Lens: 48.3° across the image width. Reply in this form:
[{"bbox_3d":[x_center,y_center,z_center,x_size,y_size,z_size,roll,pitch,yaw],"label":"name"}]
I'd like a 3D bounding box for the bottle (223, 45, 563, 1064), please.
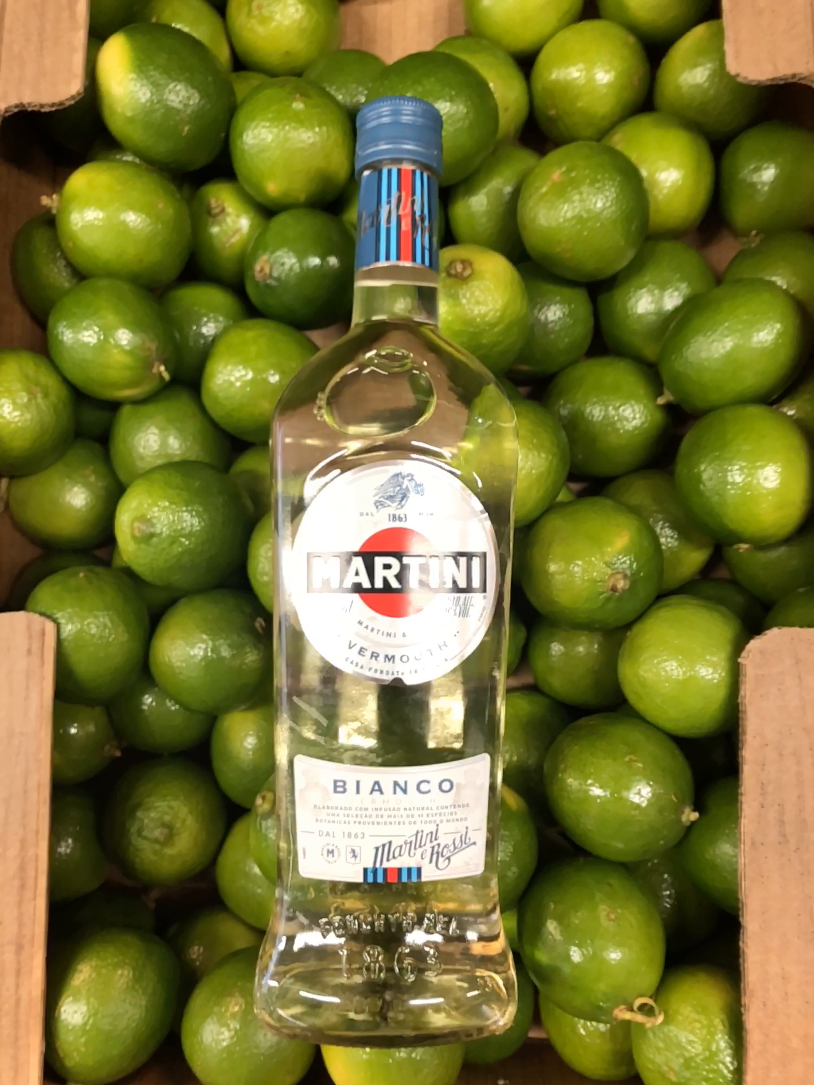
[{"bbox_3d":[-0.006,-0.004,0.309,0.100,0.050,0.320,-1,84,0],"label":"bottle"}]
